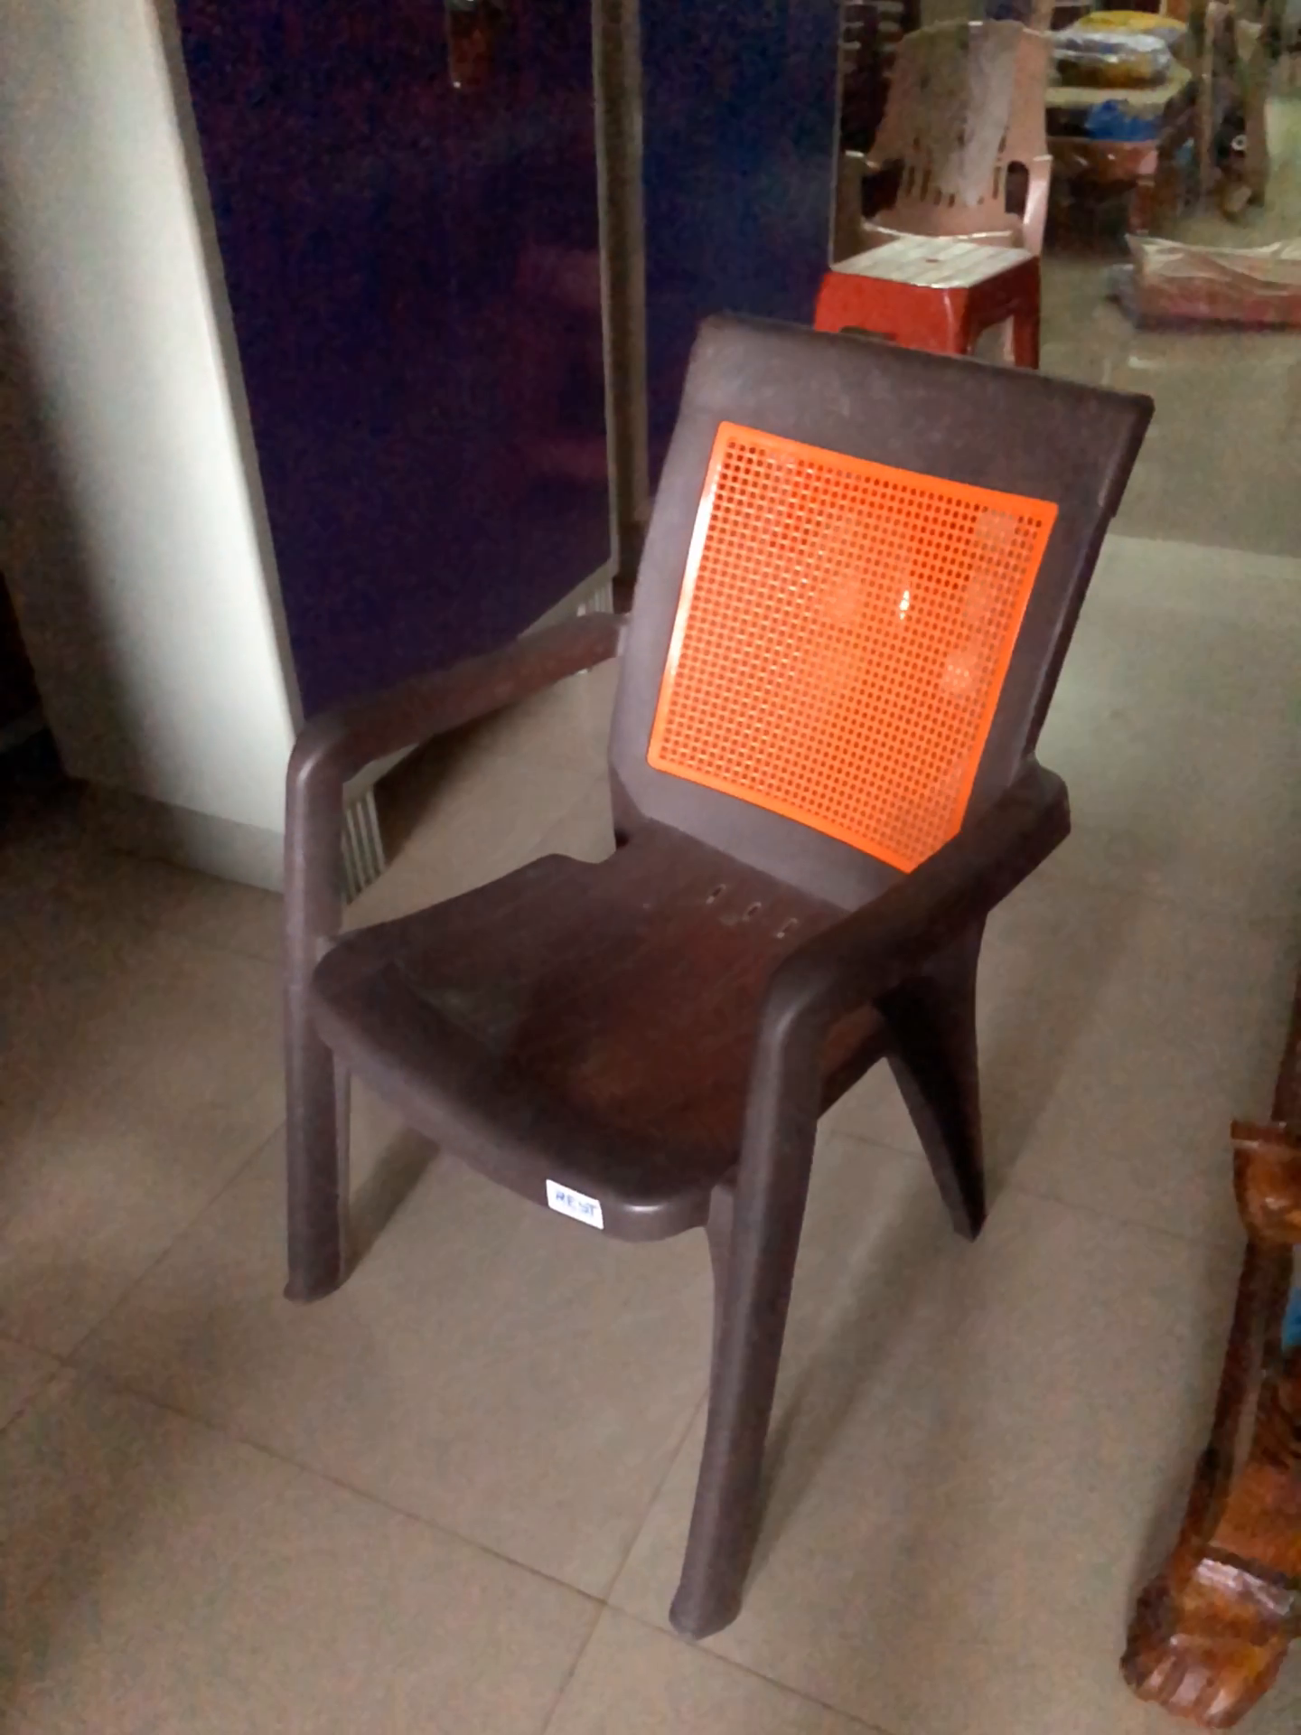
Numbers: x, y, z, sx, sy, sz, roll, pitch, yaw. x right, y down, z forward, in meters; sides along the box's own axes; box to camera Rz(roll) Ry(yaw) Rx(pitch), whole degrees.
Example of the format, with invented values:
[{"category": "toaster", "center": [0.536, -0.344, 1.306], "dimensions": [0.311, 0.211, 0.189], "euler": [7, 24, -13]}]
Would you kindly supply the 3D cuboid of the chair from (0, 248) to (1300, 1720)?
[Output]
[{"category": "chair", "center": [0.015, 0.035, 1.328], "dimensions": [0.711, 0.935, 0.713], "euler": [25, 43, 33]}]
